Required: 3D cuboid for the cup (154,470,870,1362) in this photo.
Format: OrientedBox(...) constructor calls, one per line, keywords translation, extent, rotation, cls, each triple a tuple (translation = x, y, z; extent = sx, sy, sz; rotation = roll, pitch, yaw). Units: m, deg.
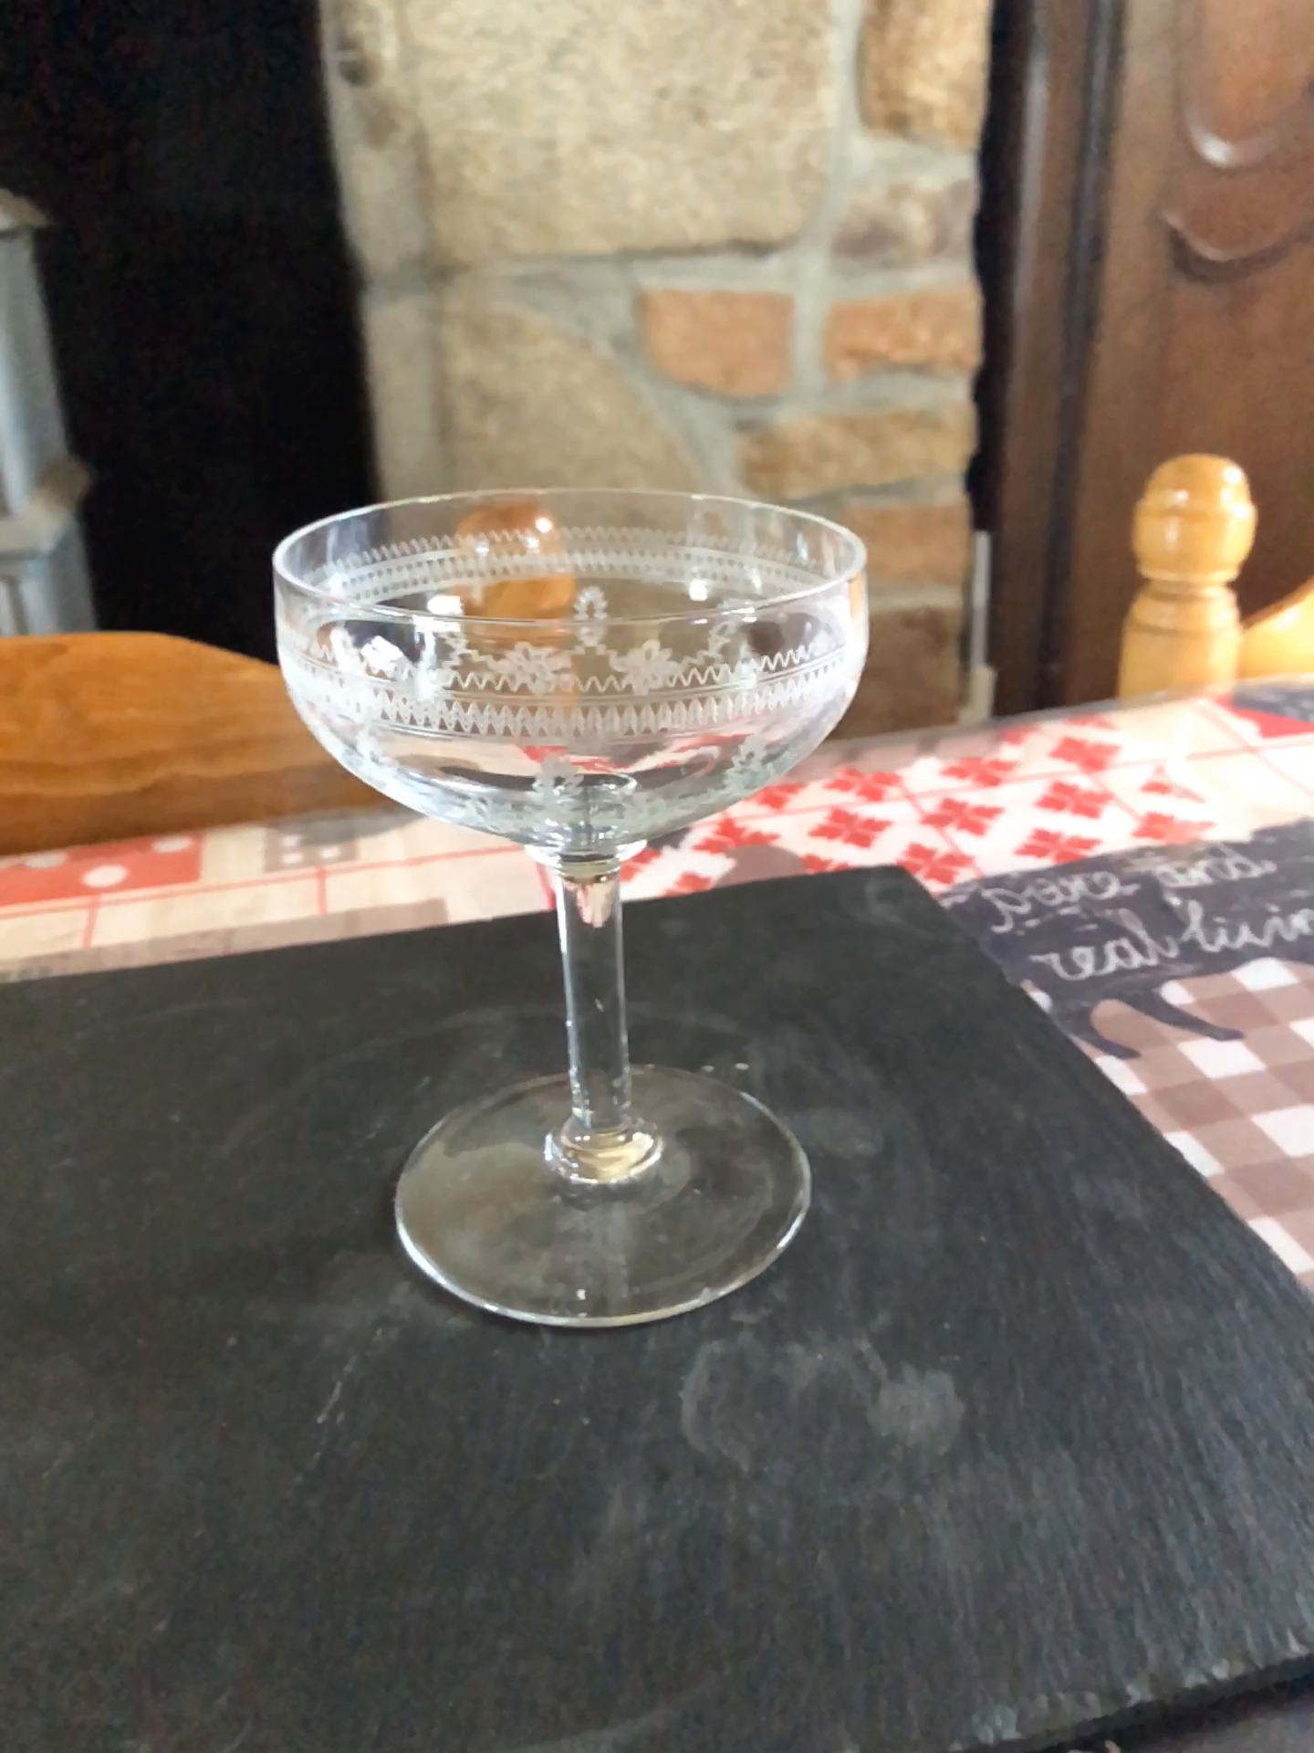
OrientedBox(translation=(-0.013, 0.001, 0.247), extent=(0.090, 0.119, 0.091), rotation=(-1, 24, 1), cls="cup")
